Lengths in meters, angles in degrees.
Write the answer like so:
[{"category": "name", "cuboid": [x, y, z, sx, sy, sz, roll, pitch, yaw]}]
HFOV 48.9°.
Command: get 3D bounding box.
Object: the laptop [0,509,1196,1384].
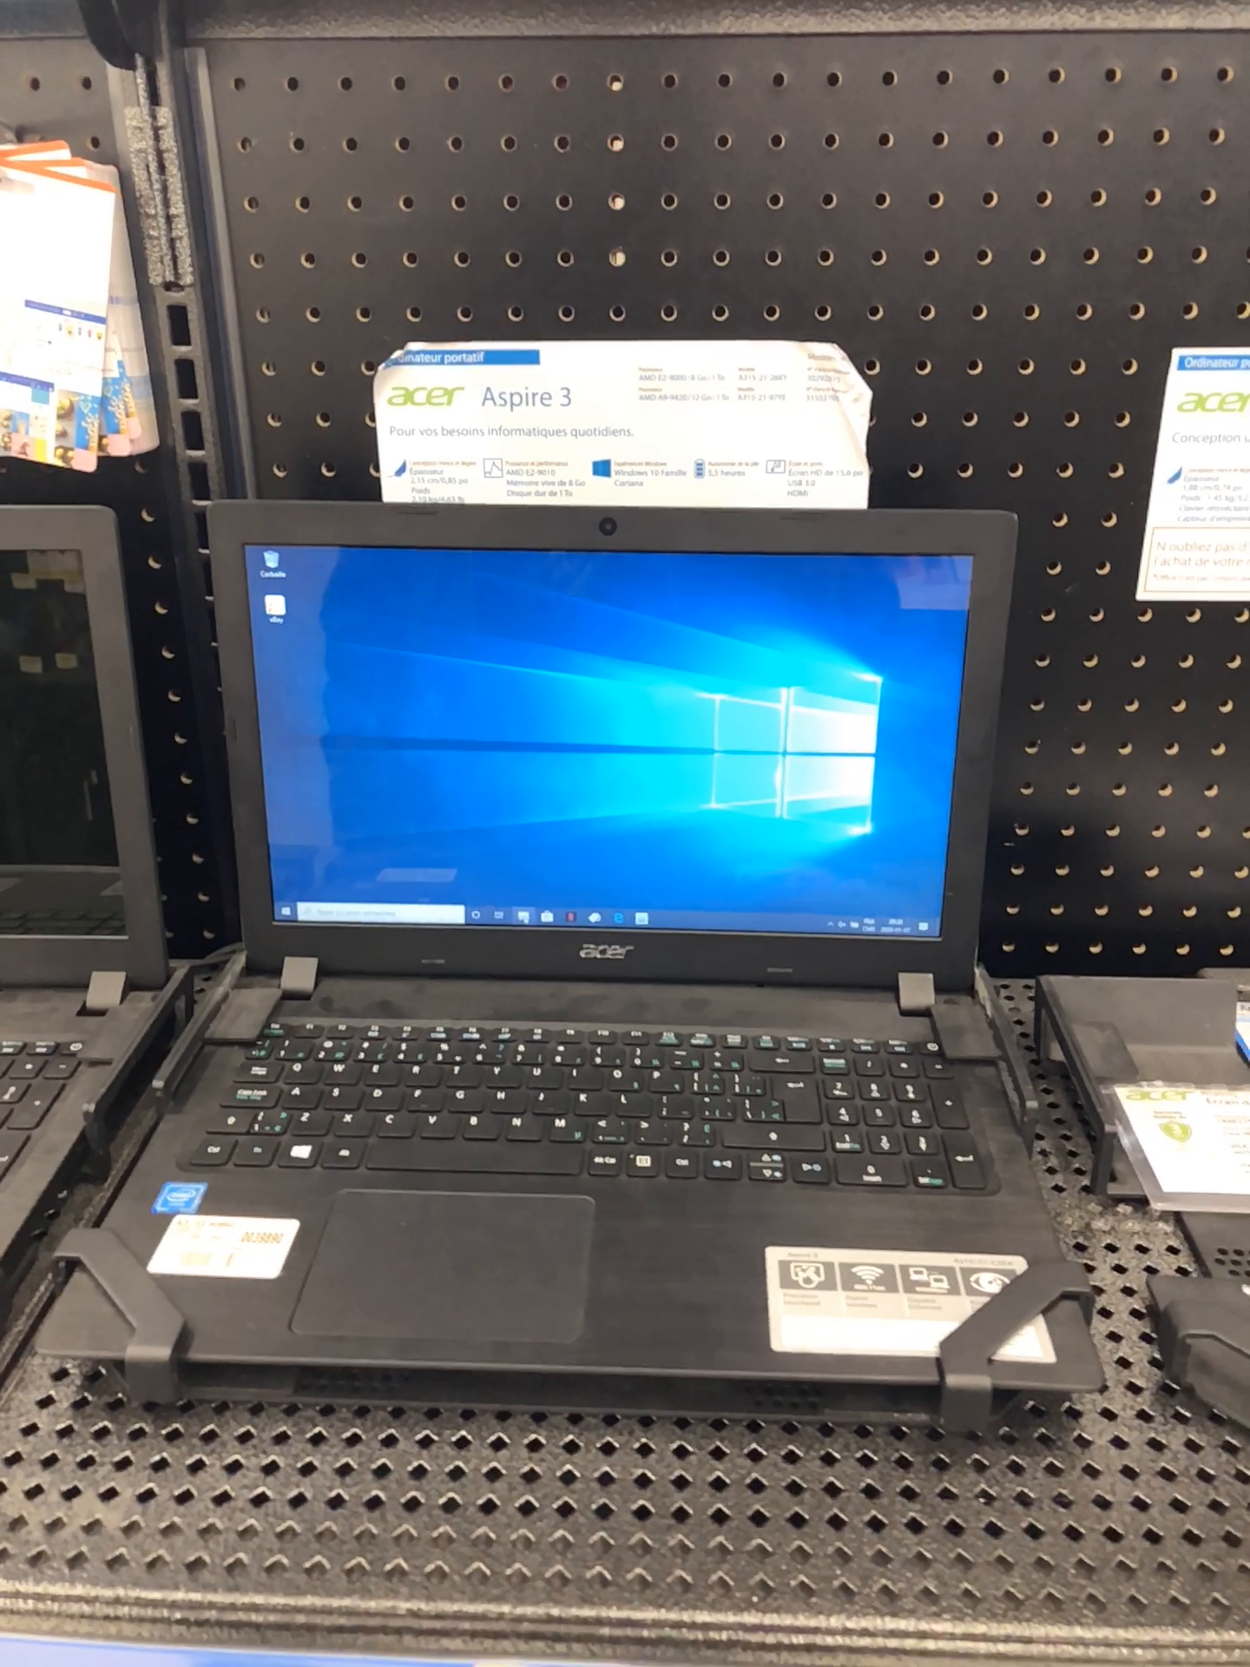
[{"category": "laptop", "cuboid": [-0.019, 0.018, 0.586, 0.386, 0.247, 0.296, 1, 24, 3]}]
